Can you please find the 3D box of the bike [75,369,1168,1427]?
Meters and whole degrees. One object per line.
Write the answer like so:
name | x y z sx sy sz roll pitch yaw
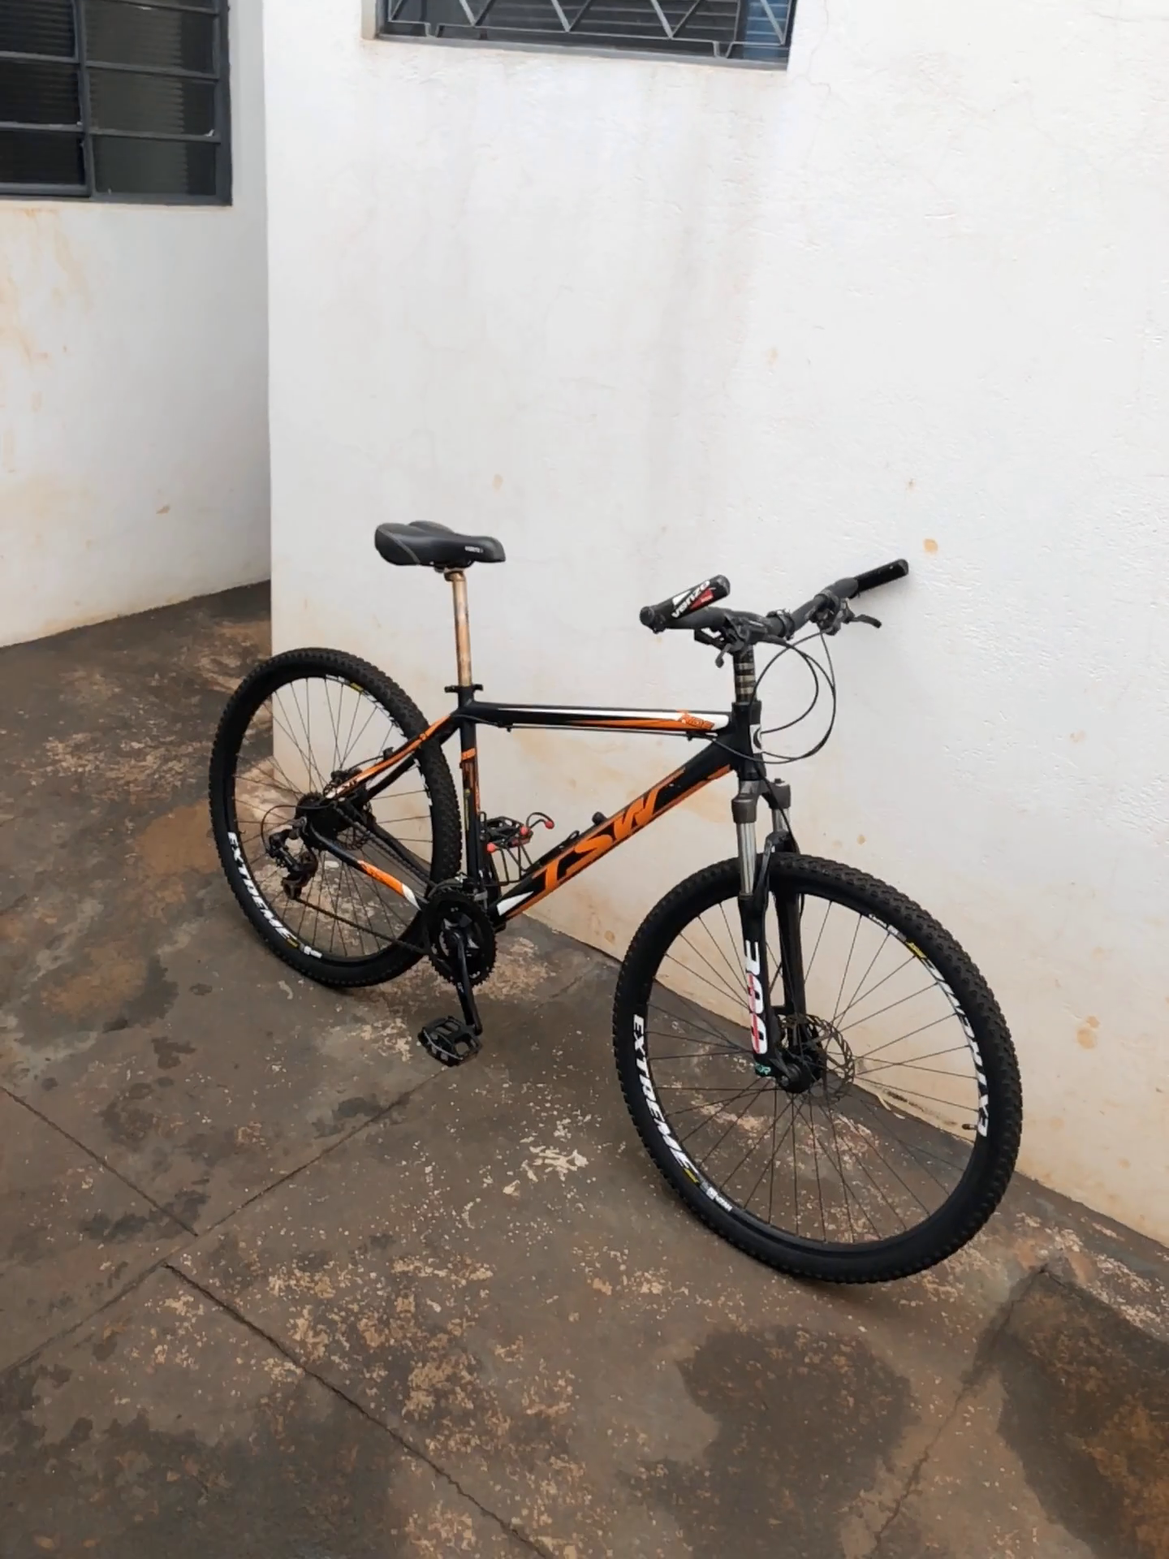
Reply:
bike | -0.013 0.012 2.268 1.765 1.084 0.725 22 31 30
